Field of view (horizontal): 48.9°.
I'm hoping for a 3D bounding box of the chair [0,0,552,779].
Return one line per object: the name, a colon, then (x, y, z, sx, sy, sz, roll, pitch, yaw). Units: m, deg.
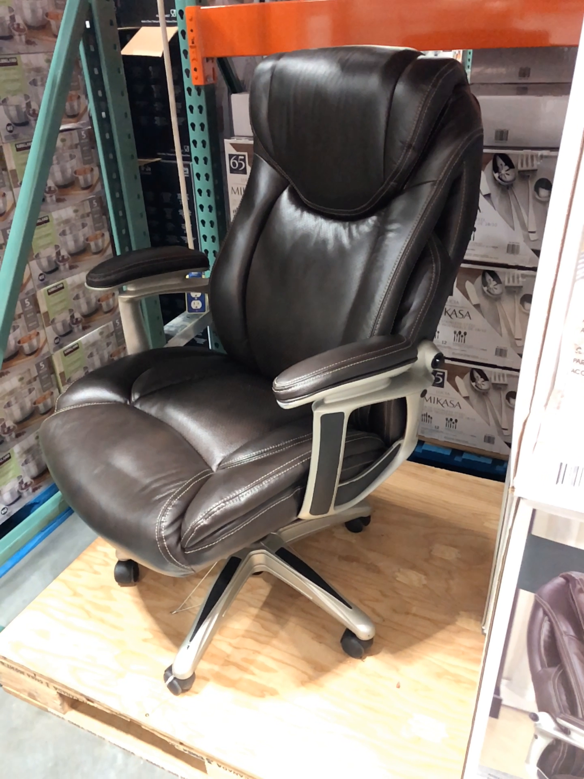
chair: (-0.079, -0.086, 1.206, 0.662, 1.095, 0.721, 24, 38, 39)
